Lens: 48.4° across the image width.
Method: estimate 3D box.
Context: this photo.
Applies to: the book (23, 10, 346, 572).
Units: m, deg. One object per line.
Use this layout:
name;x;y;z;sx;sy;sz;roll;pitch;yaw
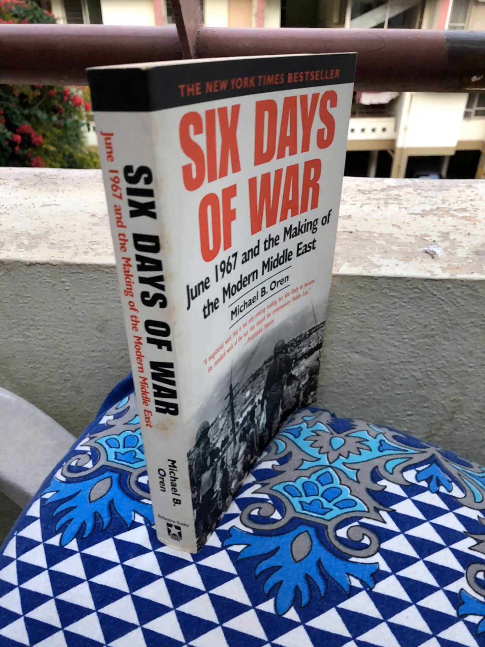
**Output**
book;-0.002;-0.023;0.299;0.050;0.249;0.181;13;36;24
